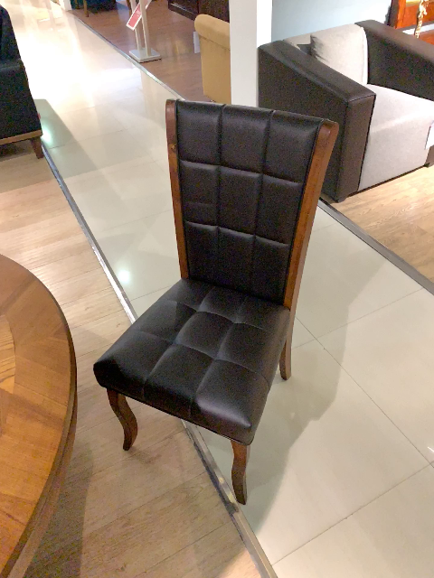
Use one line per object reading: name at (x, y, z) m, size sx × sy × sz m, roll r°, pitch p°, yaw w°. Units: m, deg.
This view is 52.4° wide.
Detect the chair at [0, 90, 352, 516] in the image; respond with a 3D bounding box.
chair at (-0.032, 0.056, 1.240) m, size 0.531 × 0.936 × 0.602 m, roll 16°, pitch 47°, yaw 20°
